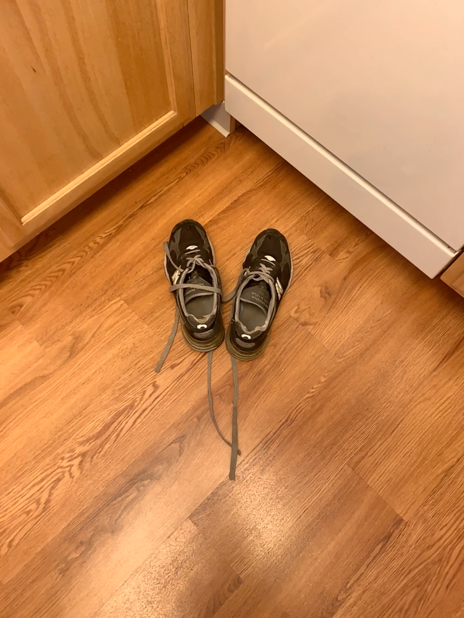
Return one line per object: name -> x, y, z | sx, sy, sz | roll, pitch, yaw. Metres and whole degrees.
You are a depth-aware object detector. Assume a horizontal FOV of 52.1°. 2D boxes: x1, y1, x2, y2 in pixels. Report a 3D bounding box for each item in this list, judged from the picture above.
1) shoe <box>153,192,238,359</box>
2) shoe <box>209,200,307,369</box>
shoe -> -0.073, -0.068, 0.928 | 0.120, 0.100, 0.301 | -8, 68, -4
shoe -> 0.053, -0.051, 0.932 | 0.120, 0.100, 0.300 | 13, 68, 4
